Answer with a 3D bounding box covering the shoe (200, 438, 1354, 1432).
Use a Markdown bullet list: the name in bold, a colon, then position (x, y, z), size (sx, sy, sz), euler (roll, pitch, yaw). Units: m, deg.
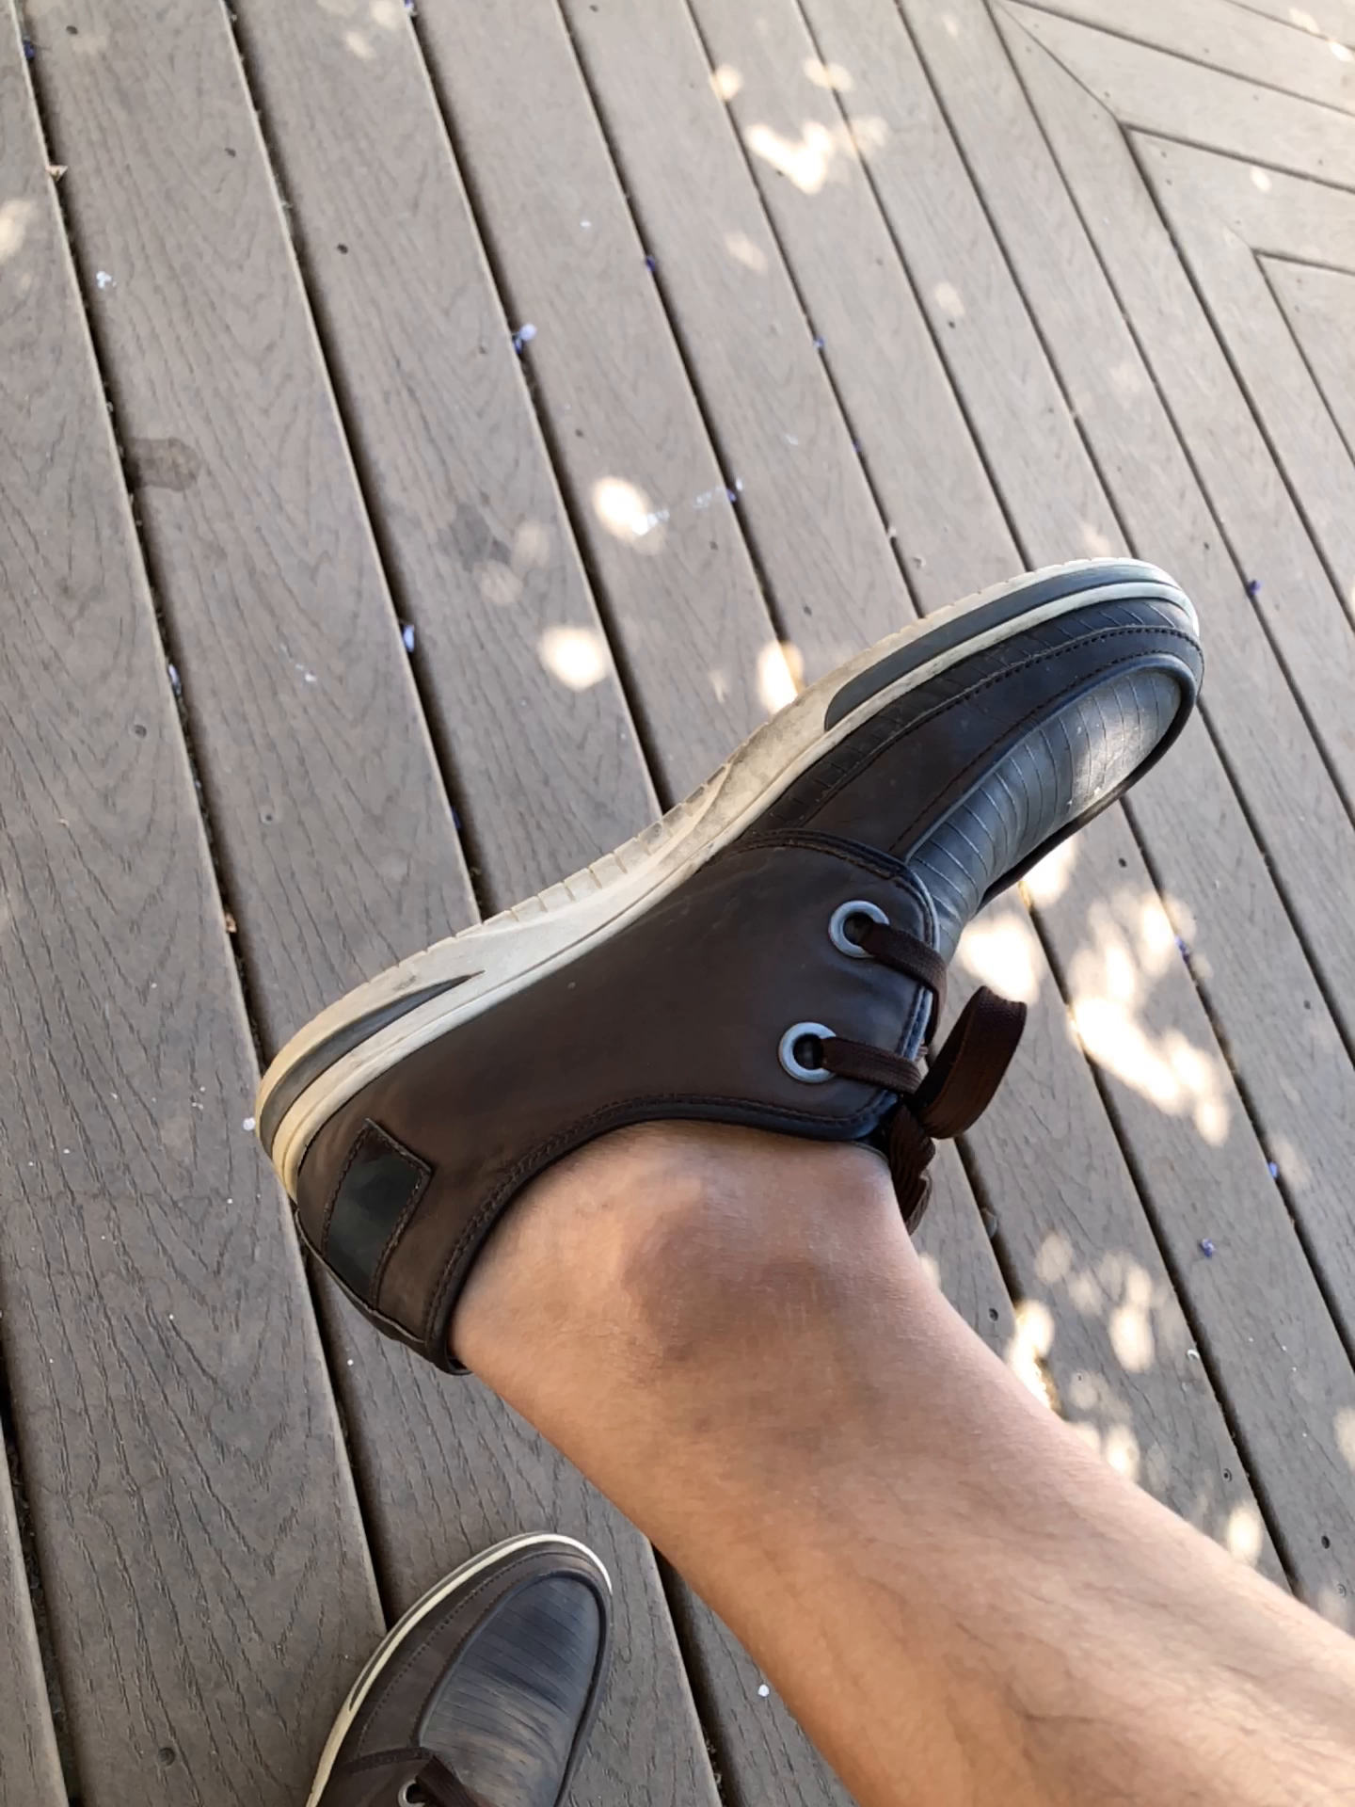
- **shoe**: position (0.034, 0.015, 0.387), size (0.275, 0.103, 0.092), euler (-32, 59, 0)
